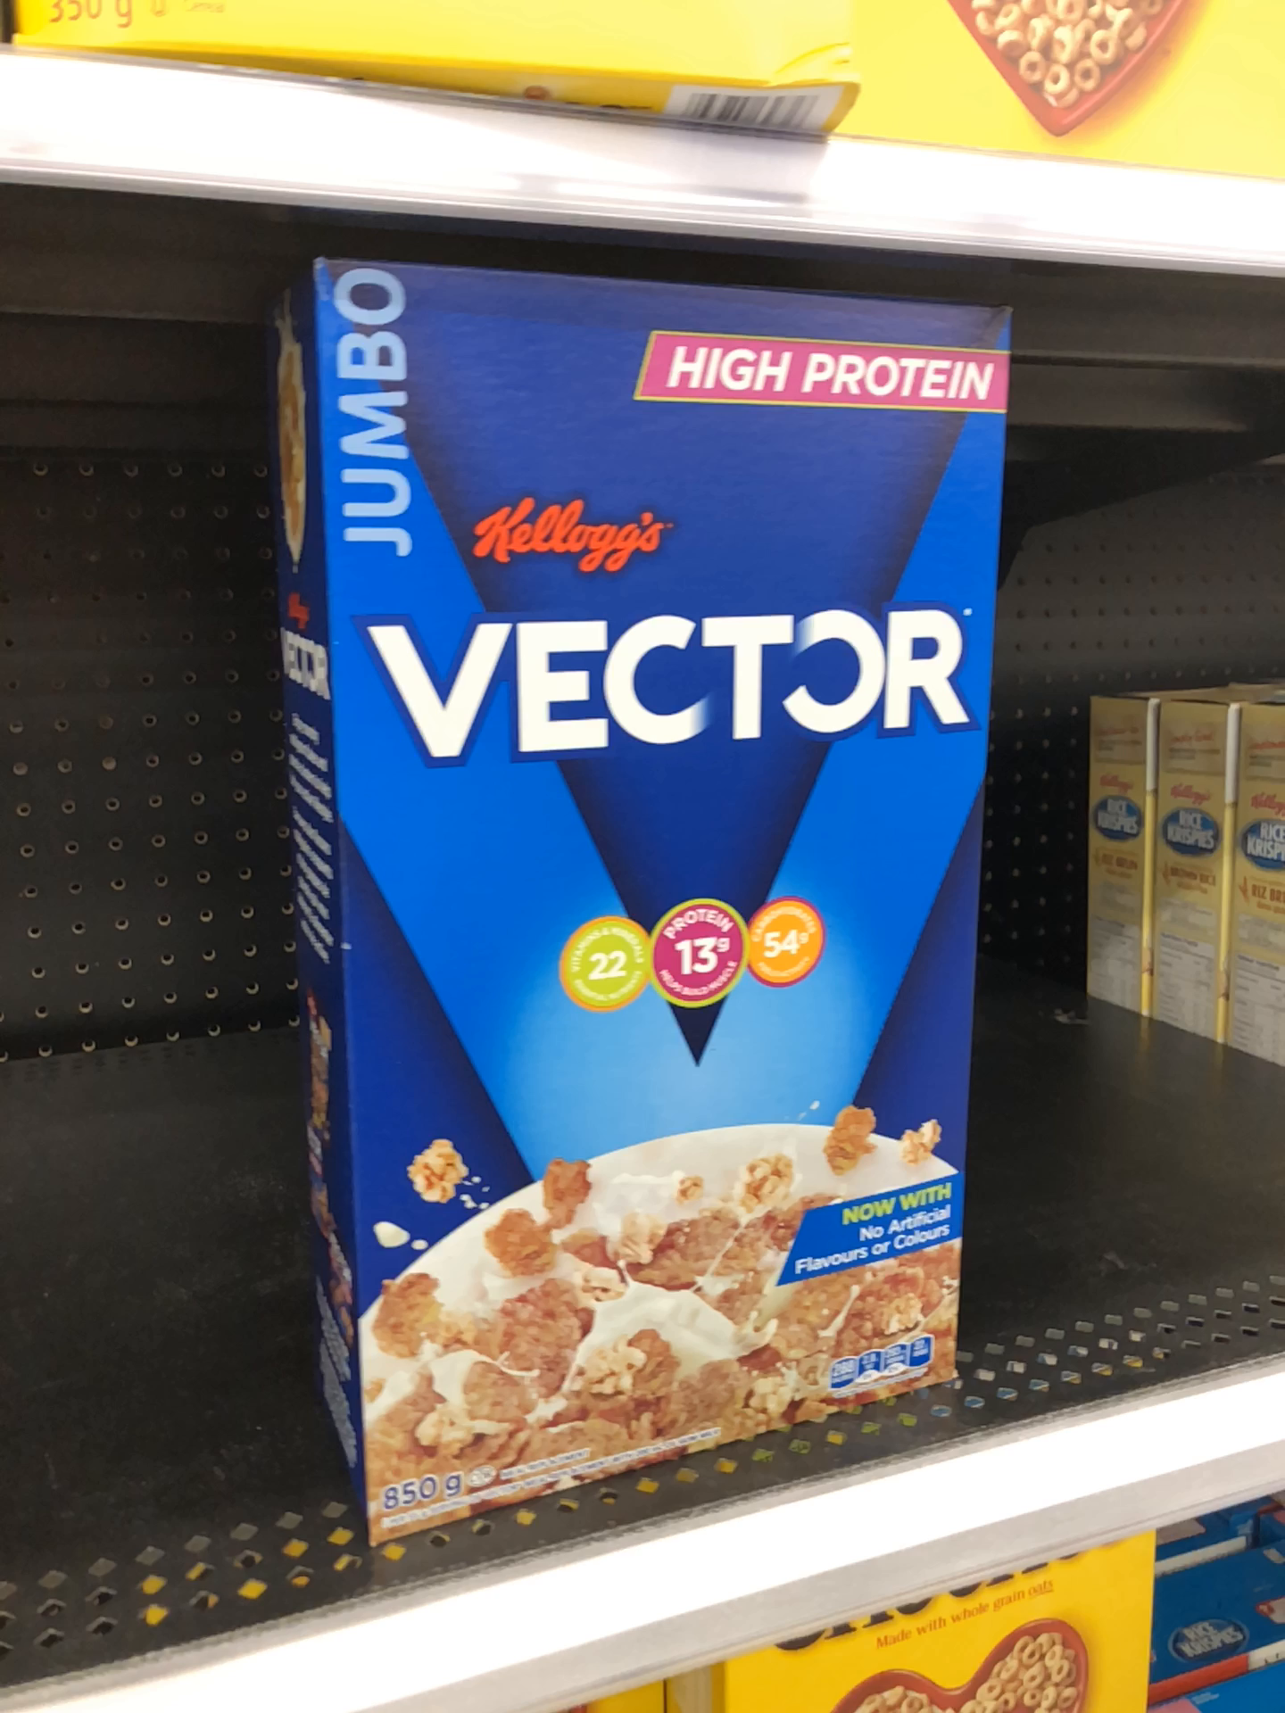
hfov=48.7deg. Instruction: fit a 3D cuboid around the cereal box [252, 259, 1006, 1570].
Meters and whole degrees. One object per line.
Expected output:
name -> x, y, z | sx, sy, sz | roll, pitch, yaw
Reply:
cereal box -> -0.003, 0.014, 0.441 | 0.200, 0.349, 0.080 | -5, 13, -23
